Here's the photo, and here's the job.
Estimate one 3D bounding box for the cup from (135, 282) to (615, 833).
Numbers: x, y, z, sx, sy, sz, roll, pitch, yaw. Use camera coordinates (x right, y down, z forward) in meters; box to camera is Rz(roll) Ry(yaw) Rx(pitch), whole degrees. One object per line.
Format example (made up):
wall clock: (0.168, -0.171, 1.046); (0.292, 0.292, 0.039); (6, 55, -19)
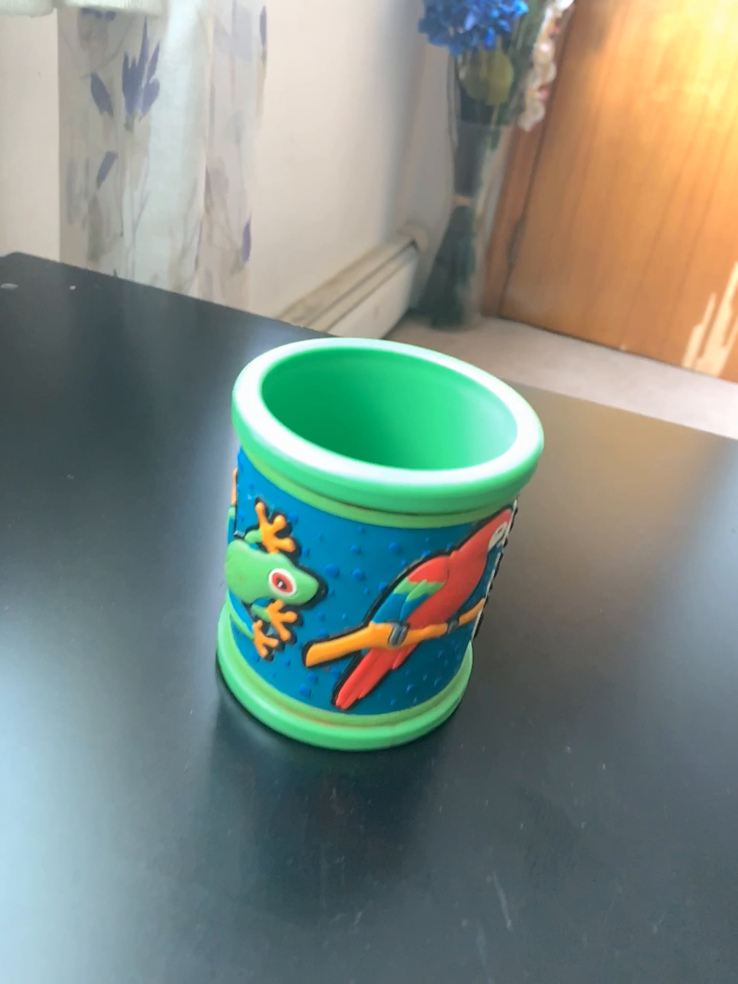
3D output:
cup: (0.004, 0.007, 0.233); (0.080, 0.099, 0.121); (25, 35, 23)
